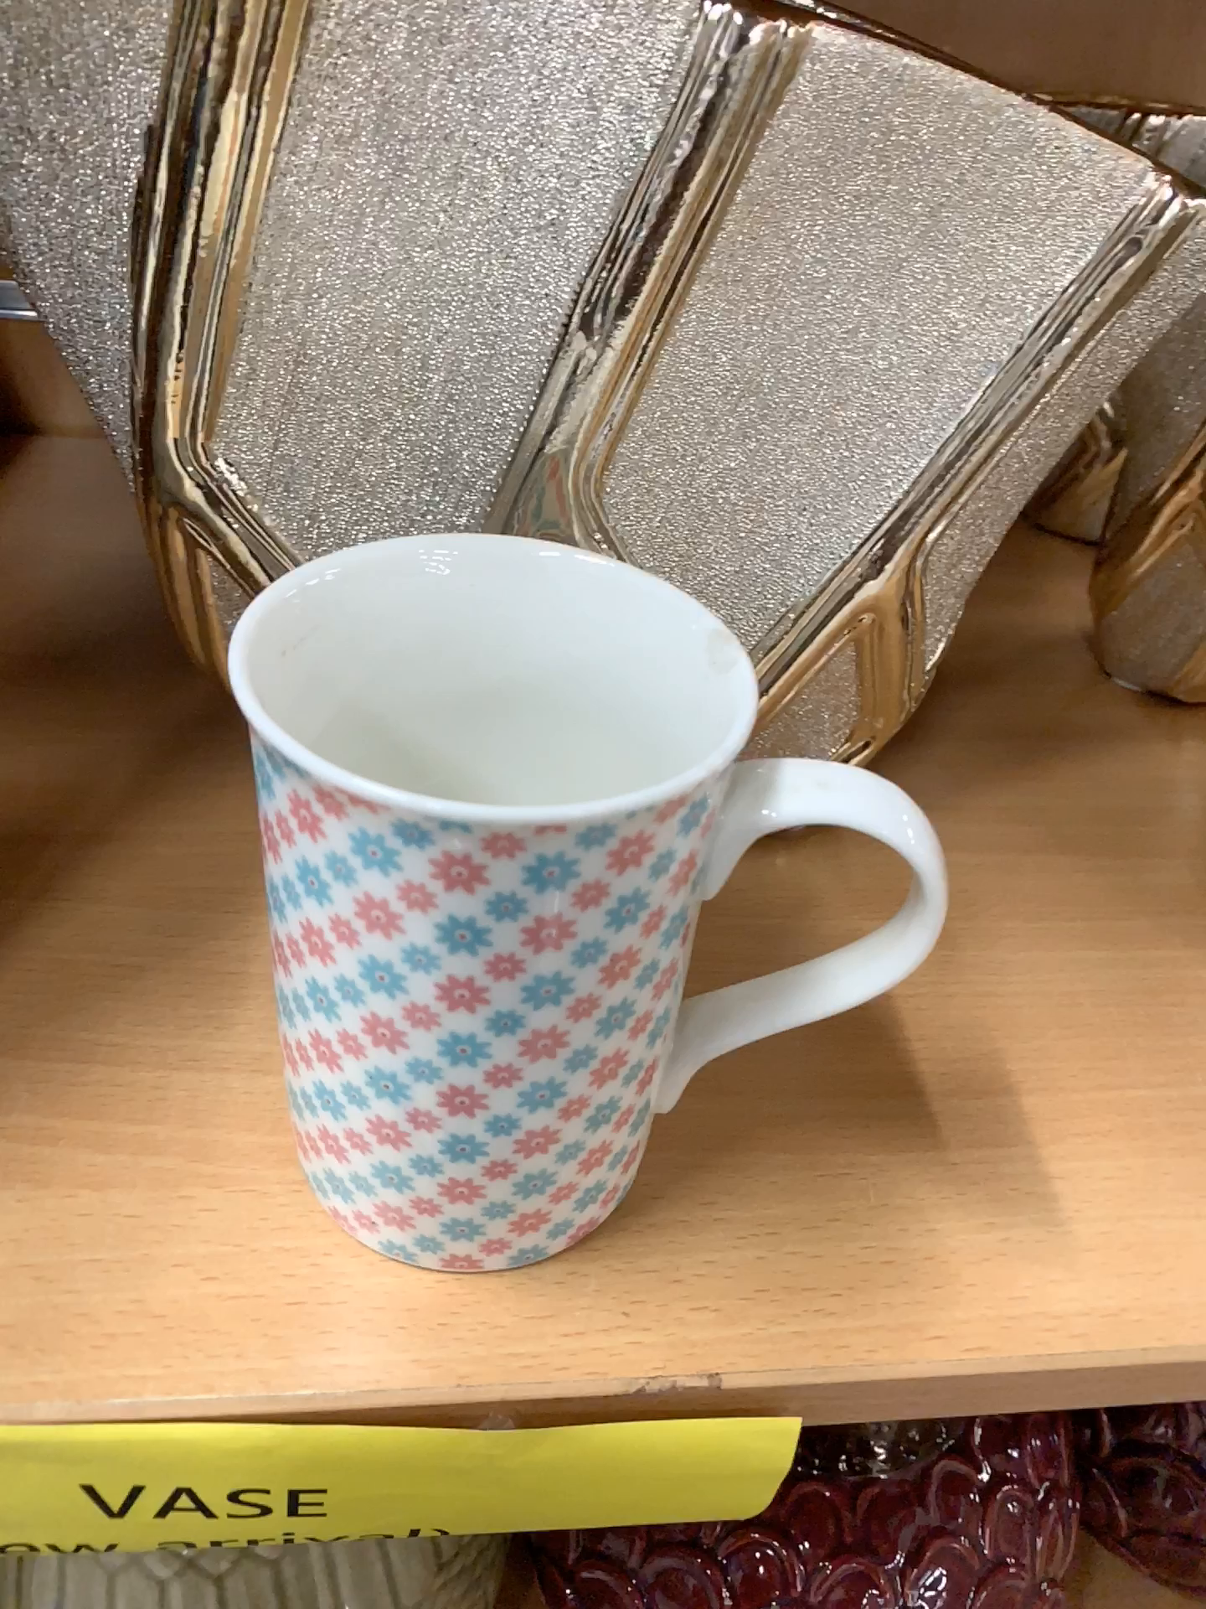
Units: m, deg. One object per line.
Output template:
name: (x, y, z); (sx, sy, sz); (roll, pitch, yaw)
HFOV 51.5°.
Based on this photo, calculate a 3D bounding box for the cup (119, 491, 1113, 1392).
cup: (0.000, 0.022, 0.214); (0.120, 0.110, 0.080); (9, 36, 3)
